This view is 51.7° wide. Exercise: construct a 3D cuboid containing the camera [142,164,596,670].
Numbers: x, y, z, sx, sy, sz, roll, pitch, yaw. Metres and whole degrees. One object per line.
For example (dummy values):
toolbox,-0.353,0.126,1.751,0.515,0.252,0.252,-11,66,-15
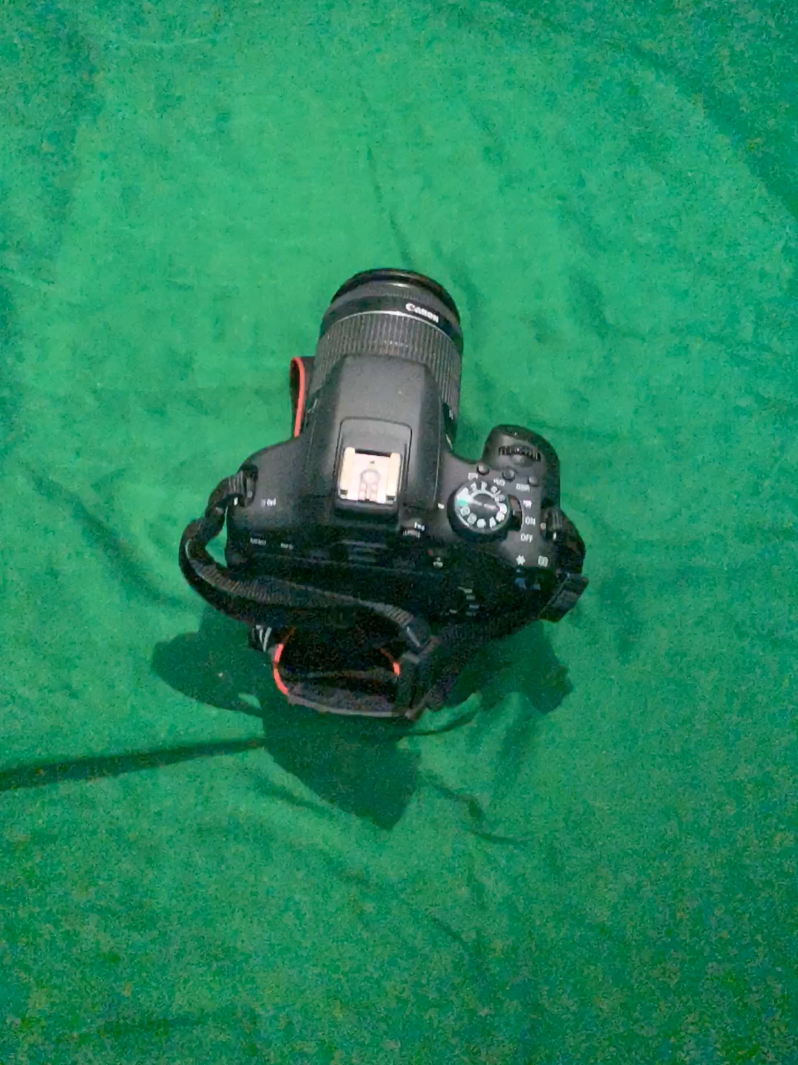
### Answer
camera,-0.006,-0.048,0.358,0.152,0.100,0.191,1,68,2
